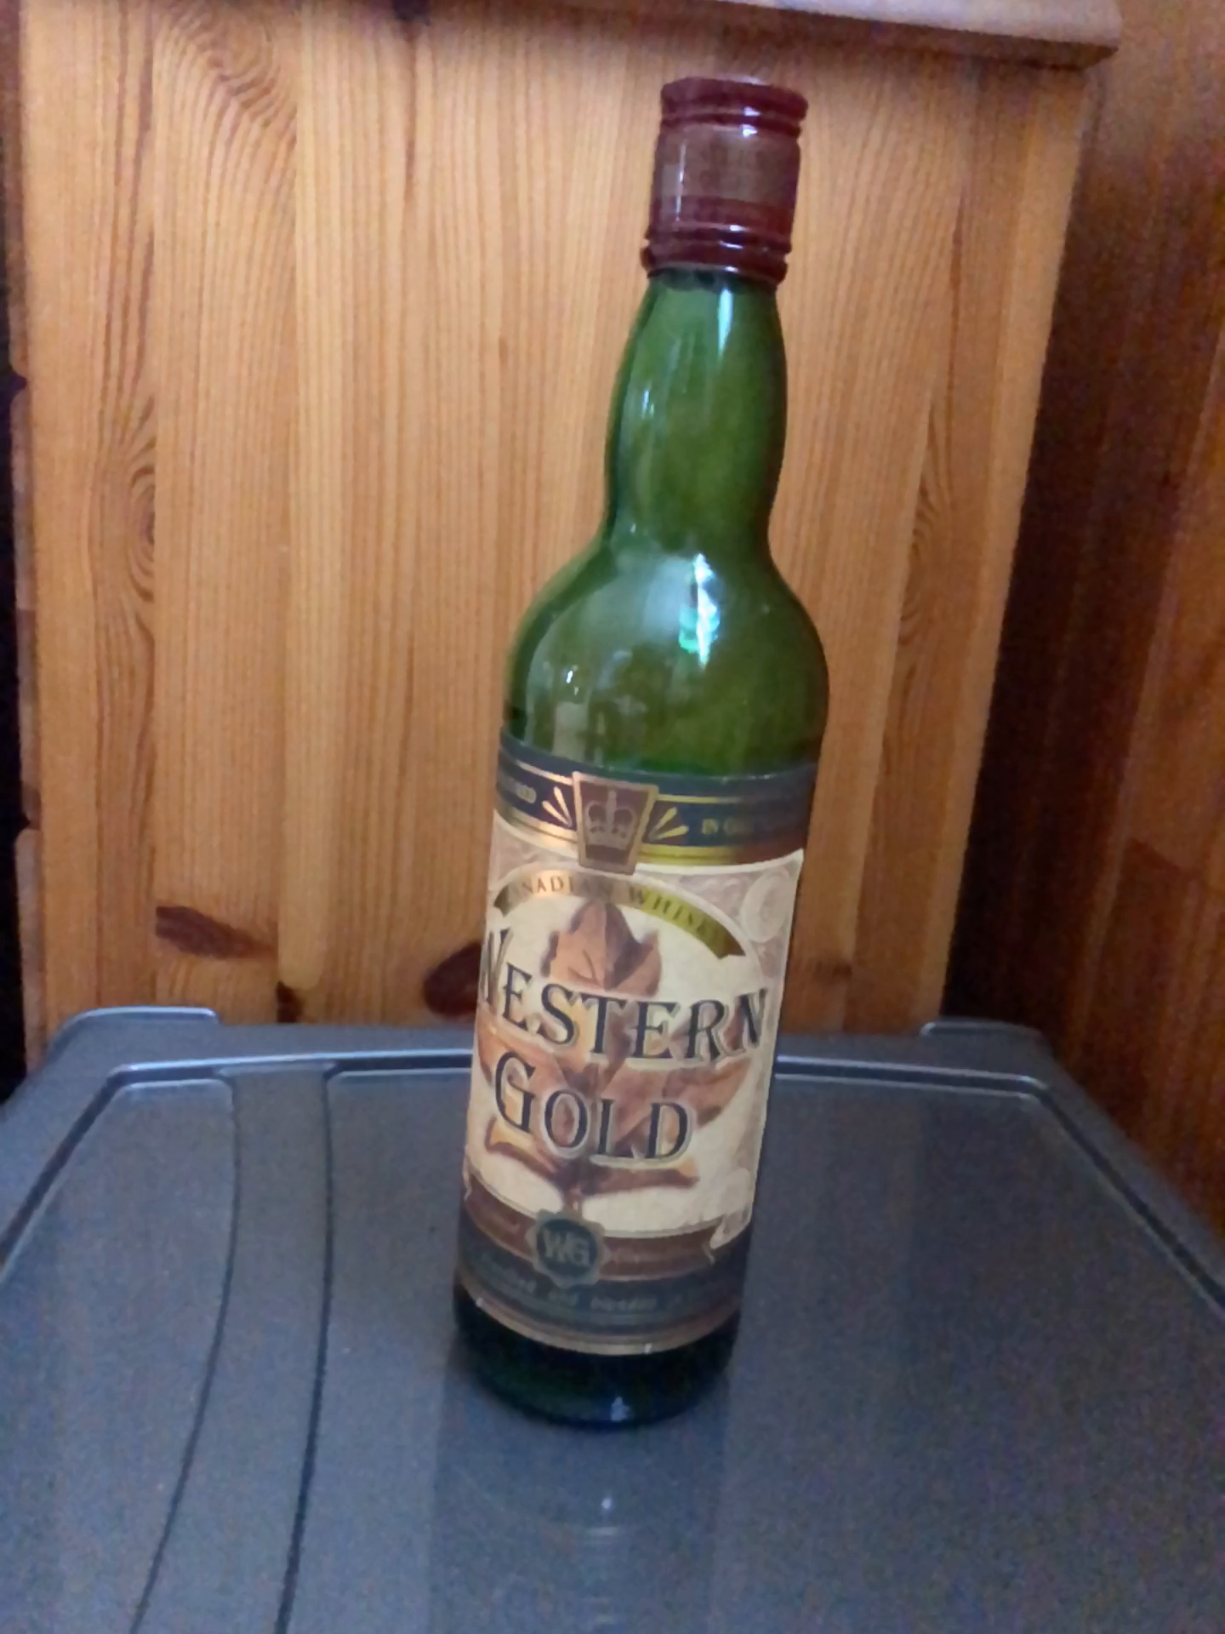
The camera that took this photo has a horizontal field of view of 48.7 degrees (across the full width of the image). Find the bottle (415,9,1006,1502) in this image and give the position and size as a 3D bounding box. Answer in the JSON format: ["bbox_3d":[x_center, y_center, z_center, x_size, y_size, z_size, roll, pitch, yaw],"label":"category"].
[{"bbox_3d":[0.019,-0.007,0.313,0.080,0.299,0.080,5,16,-2],"label":"bottle"}]
